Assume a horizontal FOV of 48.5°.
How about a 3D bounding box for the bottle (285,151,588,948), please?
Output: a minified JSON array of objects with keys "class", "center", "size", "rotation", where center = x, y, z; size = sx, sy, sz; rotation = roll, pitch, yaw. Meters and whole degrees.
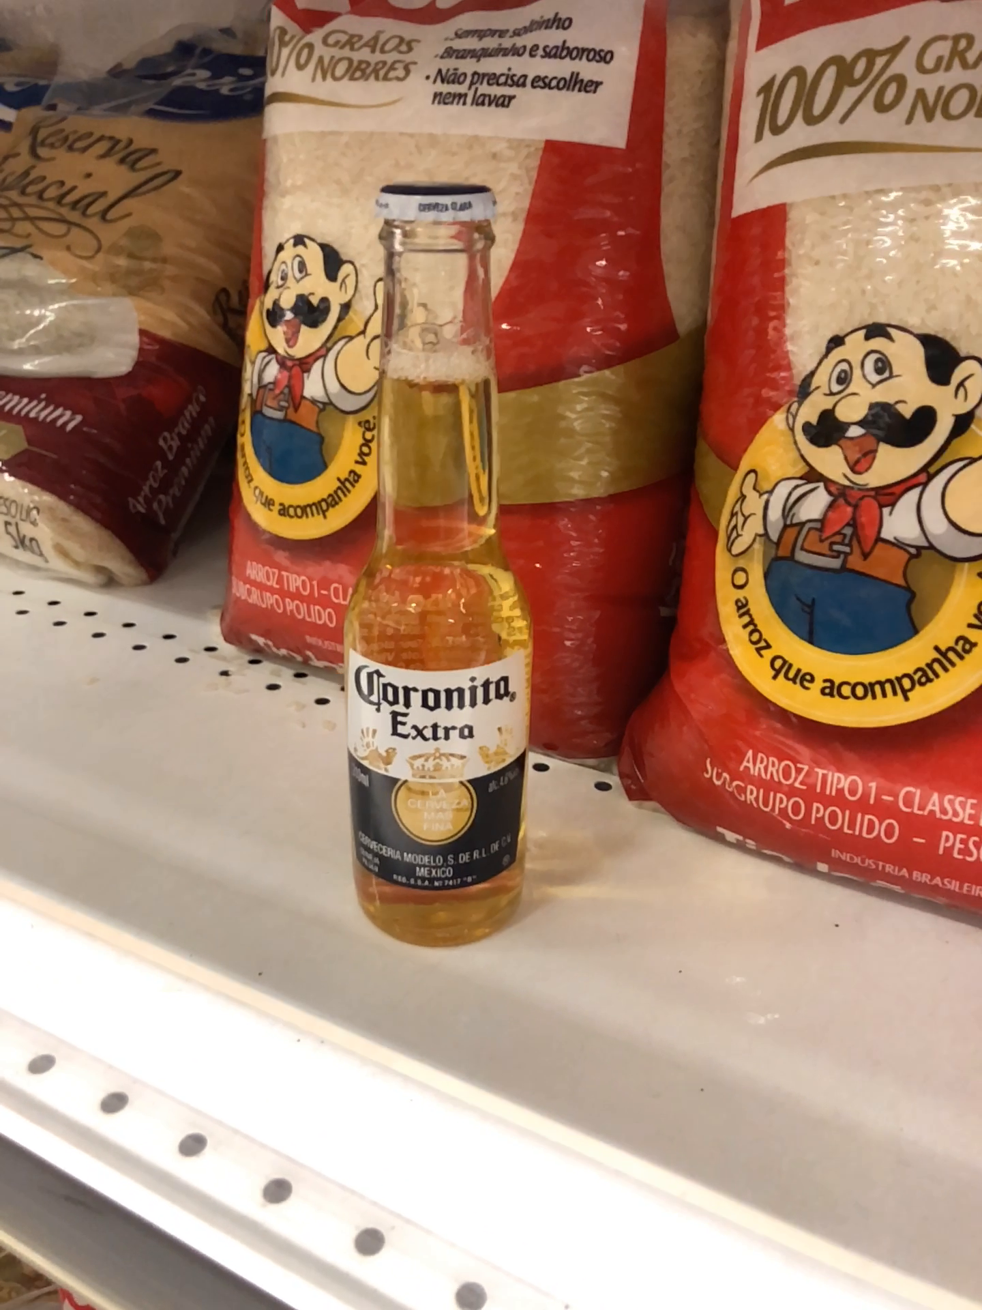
[{"class":"bottle","center":[-0.010,-0.021,0.287],"size":[0.060,0.199,0.060],"rotation":[0,27,0]}]
